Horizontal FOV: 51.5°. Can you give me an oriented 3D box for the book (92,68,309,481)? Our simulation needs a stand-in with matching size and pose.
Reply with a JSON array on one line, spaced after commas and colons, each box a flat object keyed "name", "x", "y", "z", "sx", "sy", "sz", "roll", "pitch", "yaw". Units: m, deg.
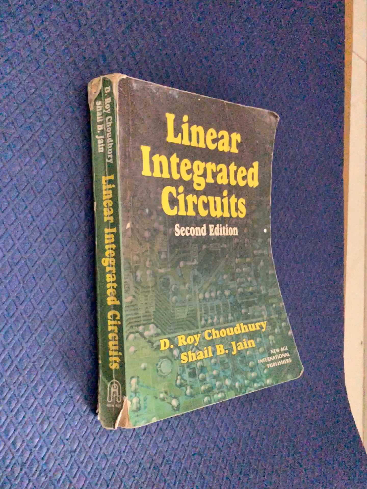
[{"name": "book", "x": 0.024, "y": 0.017, "z": 0.323, "sx": 0.191, "sy": 0.040, "sz": 0.270, "roll": -1, "pitch": 87, "yaw": -37}]
